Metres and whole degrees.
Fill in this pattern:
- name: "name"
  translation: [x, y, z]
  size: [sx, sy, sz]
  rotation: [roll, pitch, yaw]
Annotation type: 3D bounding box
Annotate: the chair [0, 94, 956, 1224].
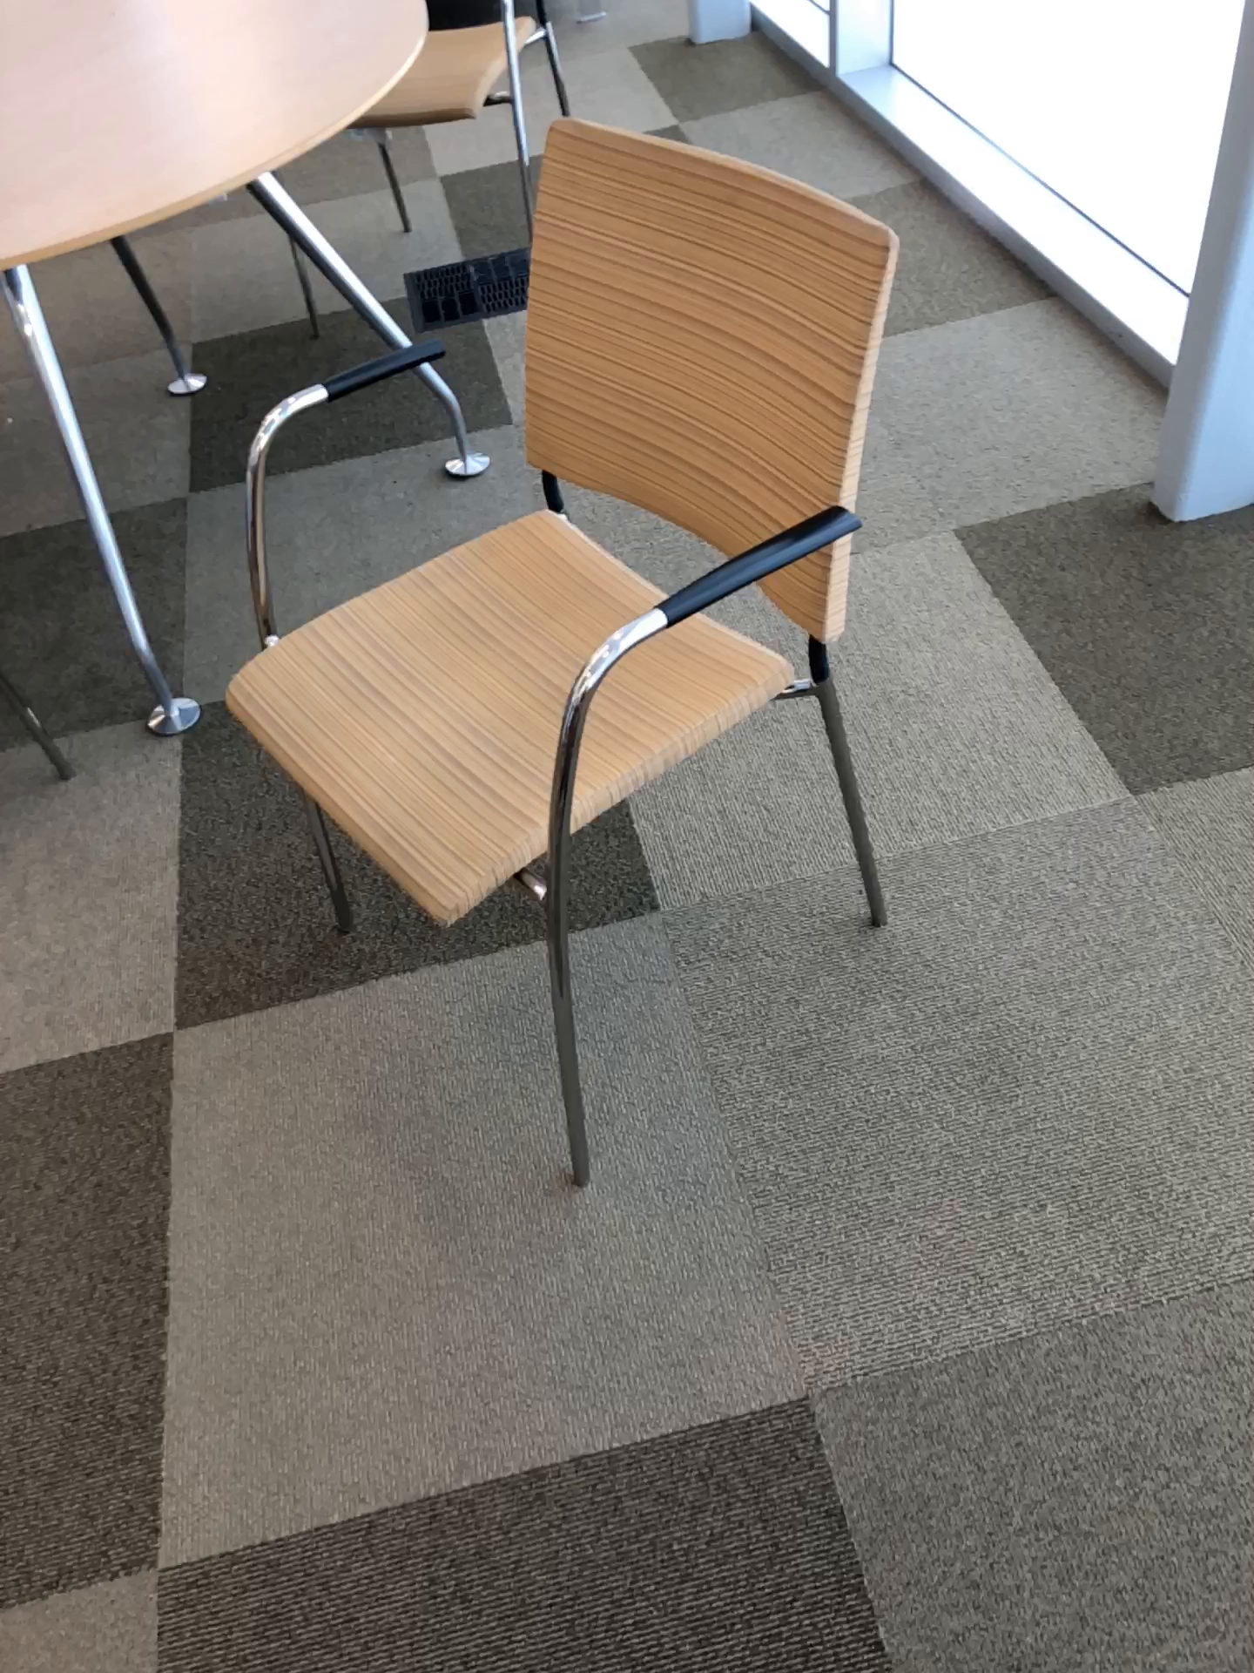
- name: "chair"
  translation: [-0.084, -0.160, 1.330]
  size: [0.547, 0.796, 0.516]
  rotation: [-34, 51, -22]
